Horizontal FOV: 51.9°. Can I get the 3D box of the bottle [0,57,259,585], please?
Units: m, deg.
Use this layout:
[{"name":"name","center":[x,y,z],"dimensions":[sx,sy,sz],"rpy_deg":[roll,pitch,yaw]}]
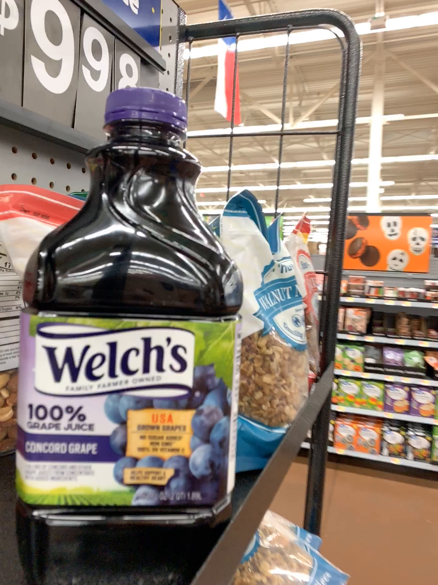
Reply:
[{"name":"bottle","center":[-0.049,0.021,0.265],"dimensions":[0.120,0.260,0.100],"rpy_deg":[2,4,-3]}]
